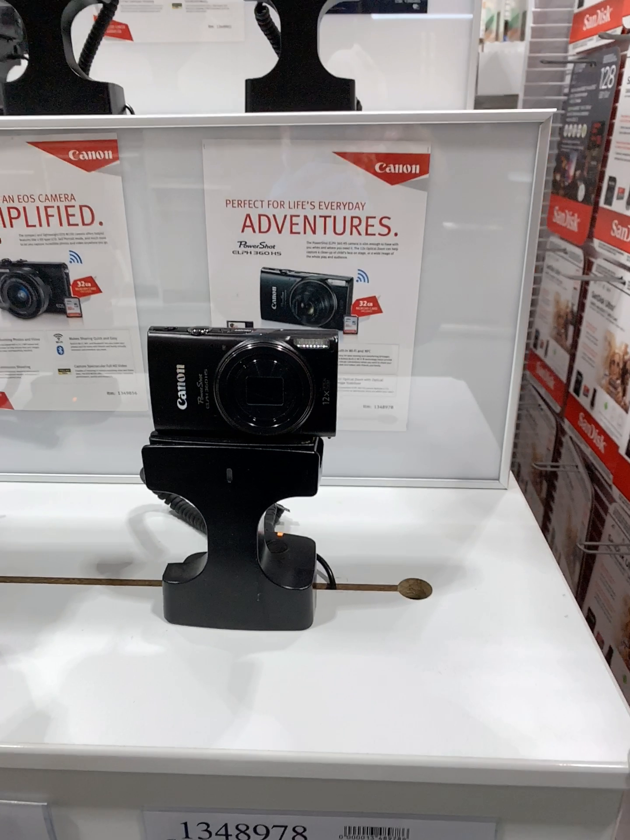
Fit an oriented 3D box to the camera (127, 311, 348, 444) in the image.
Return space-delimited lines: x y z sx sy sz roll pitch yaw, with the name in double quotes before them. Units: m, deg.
"camera" -0.038 -0.024 0.353 0.110 0.060 0.040 2 22 5
